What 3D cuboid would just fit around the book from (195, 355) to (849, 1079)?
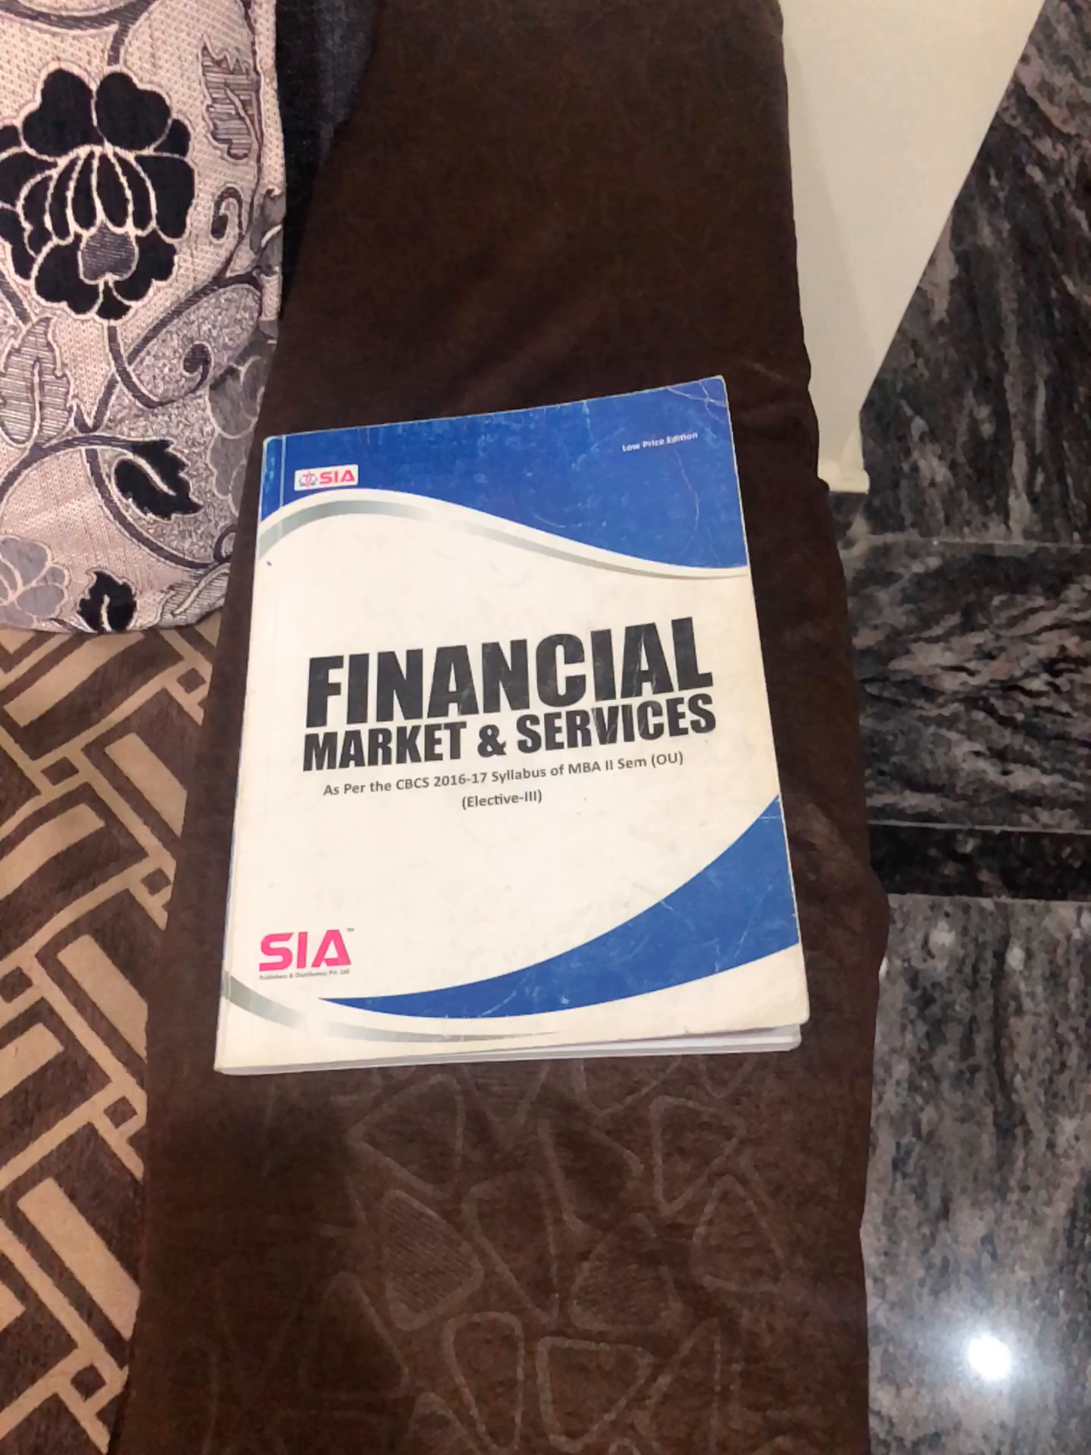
[{"bbox_3d":[-0.017,-0.022,0.489,0.220,0.040,0.300,-2,63,-4],"label":"book"}]
